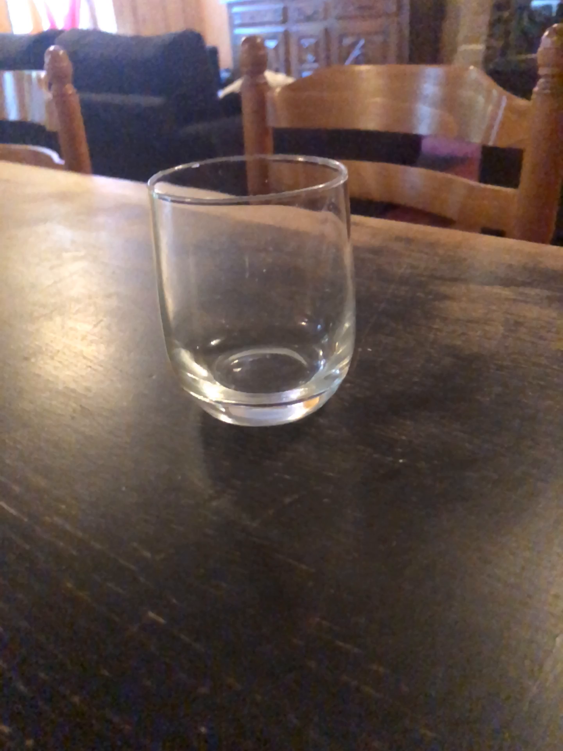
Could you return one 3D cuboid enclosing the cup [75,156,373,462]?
[{"bbox_3d":[-0.016,-0.031,0.238,0.077,0.084,0.071,-3,29,2],"label":"cup"}]
